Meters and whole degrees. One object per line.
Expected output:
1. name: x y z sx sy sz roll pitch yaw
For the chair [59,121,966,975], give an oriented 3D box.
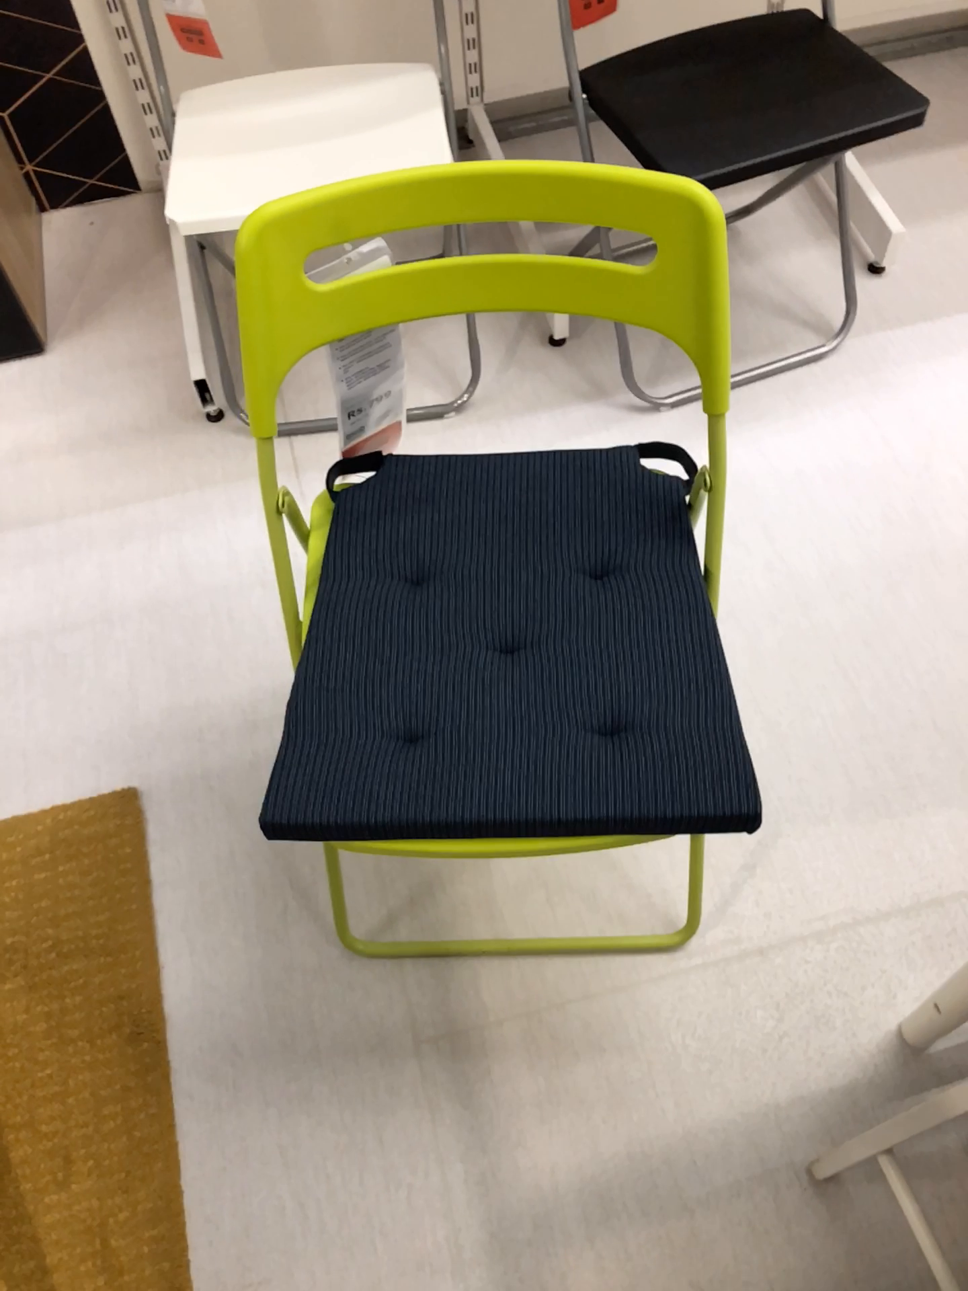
1. chair: 0.025 -0.026 0.966 0.490 0.637 0.462 -3 58 2
